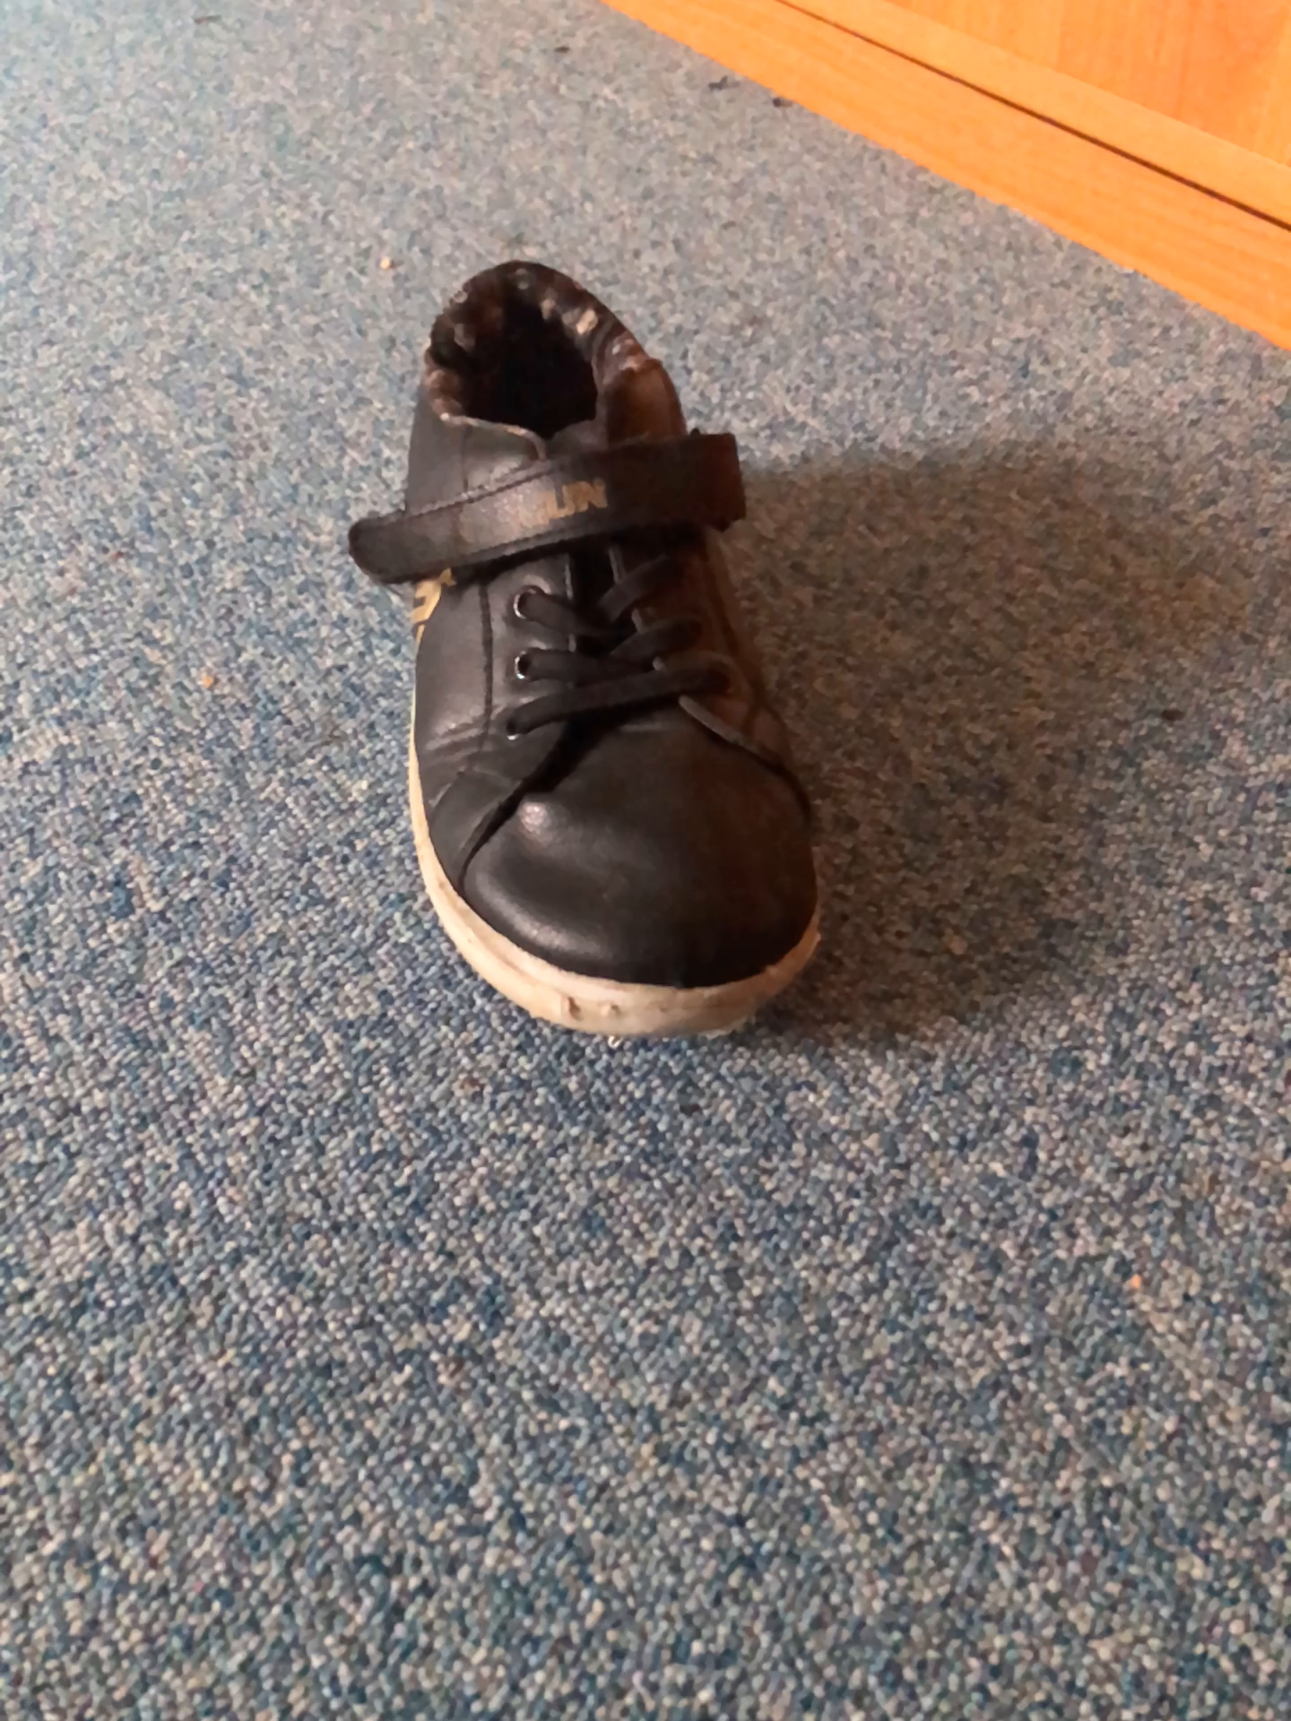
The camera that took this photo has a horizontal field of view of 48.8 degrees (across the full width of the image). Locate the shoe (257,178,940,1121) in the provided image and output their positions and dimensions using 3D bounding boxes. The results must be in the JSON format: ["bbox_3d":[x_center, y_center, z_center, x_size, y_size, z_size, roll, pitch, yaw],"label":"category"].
[{"bbox_3d":[-0.023,-0.067,0.338,0.110,0.090,0.231,-6,47,-6],"label":"shoe"}]
